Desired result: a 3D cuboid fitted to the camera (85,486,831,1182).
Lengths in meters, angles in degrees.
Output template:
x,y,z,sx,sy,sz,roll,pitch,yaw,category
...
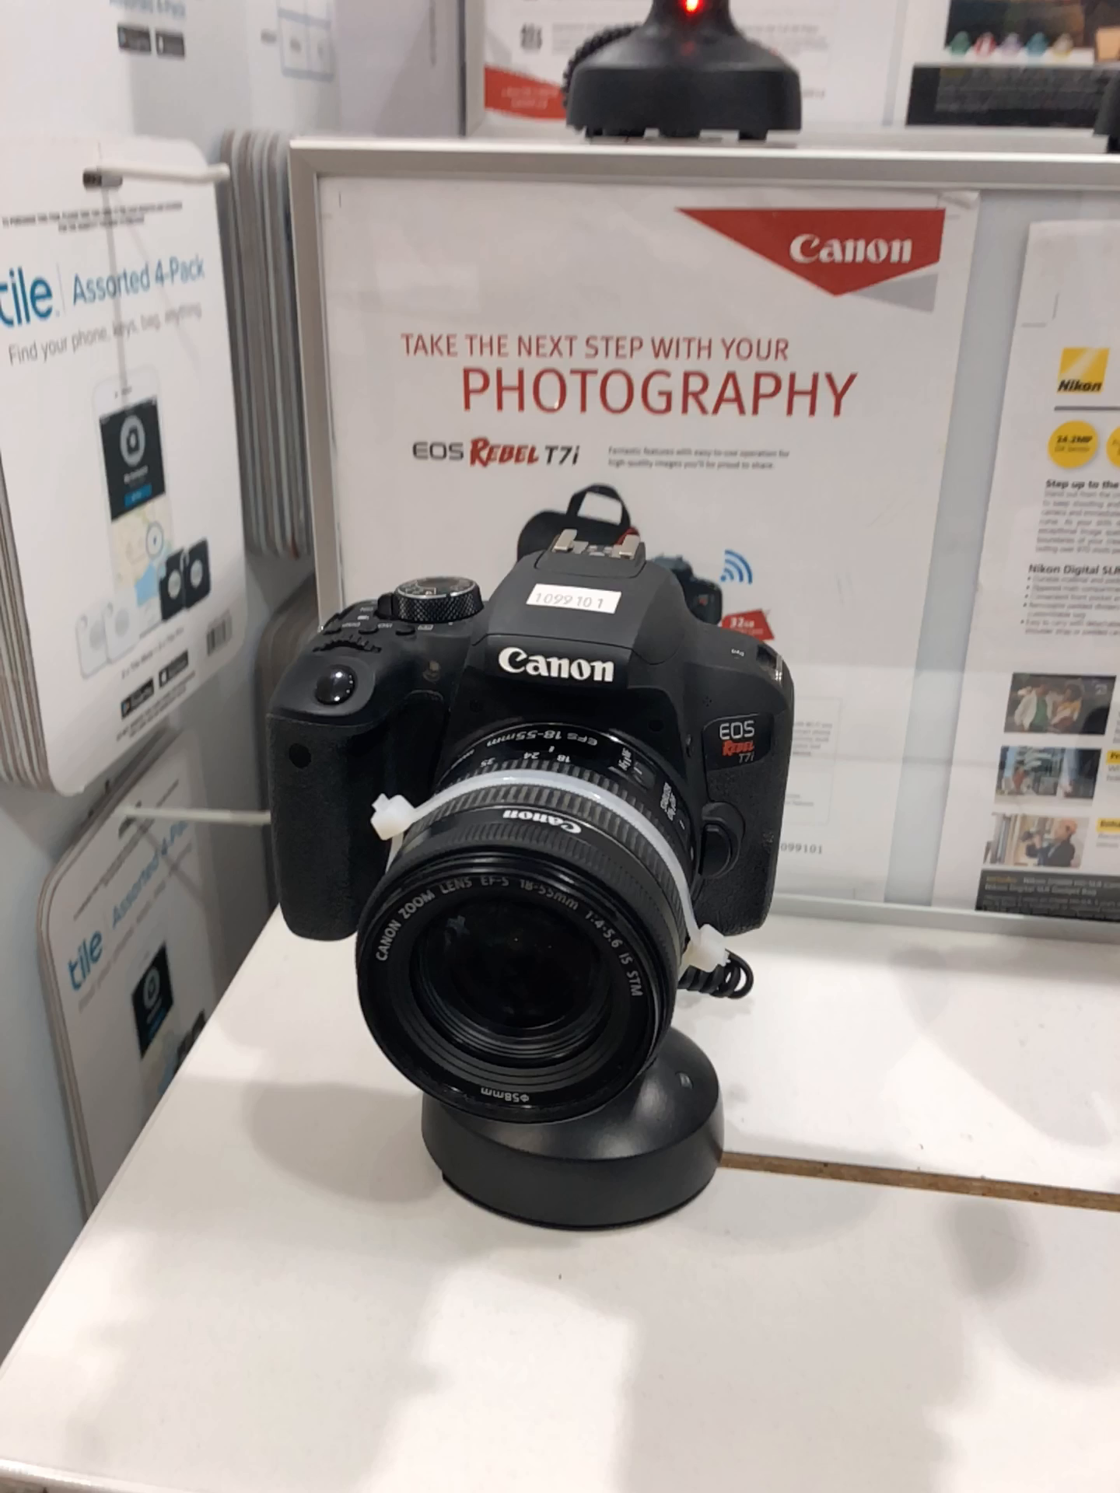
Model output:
x,y,z,sx,sy,sz,roll,pitch,yaw,category
-0.011,0.008,0.285,0.130,0.100,0.120,6,26,9,camera
